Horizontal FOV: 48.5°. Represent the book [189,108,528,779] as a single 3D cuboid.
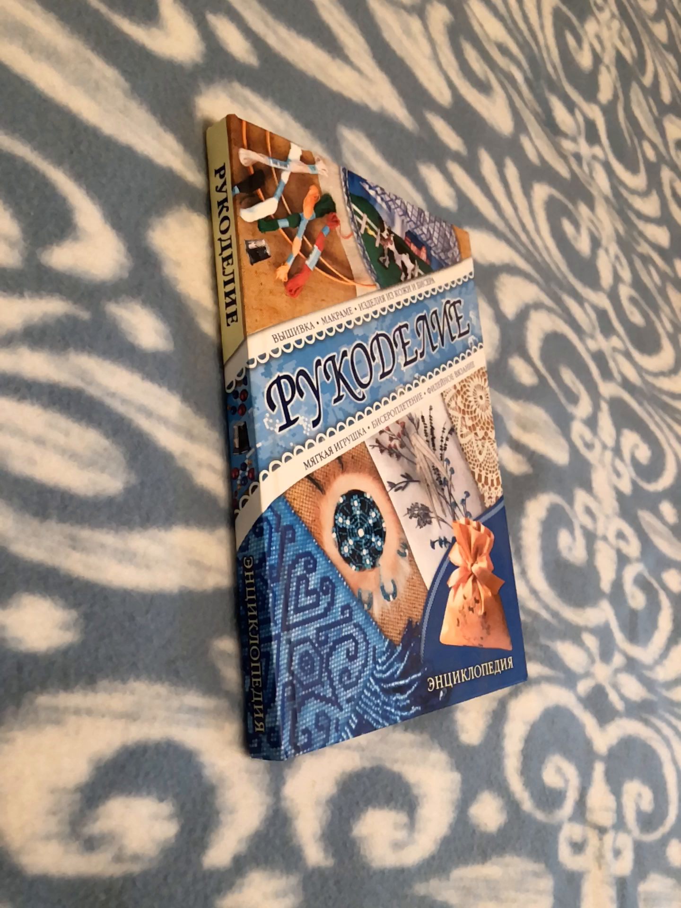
[{"bbox_3d":[0.016,-0.006,0.331,0.169,0.020,0.237,5,76,-48],"label":"book"}]
